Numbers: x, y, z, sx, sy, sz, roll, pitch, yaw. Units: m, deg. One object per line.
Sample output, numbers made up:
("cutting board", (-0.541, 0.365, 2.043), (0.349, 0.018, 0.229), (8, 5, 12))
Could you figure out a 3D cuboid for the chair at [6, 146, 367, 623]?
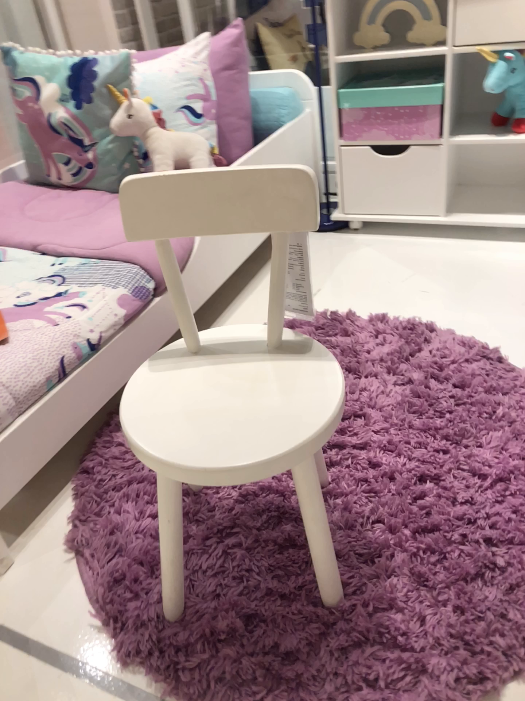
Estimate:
("chair", (-0.041, 0.066, 0.816), (0.320, 0.575, 0.313), (-5, 33, 6))
